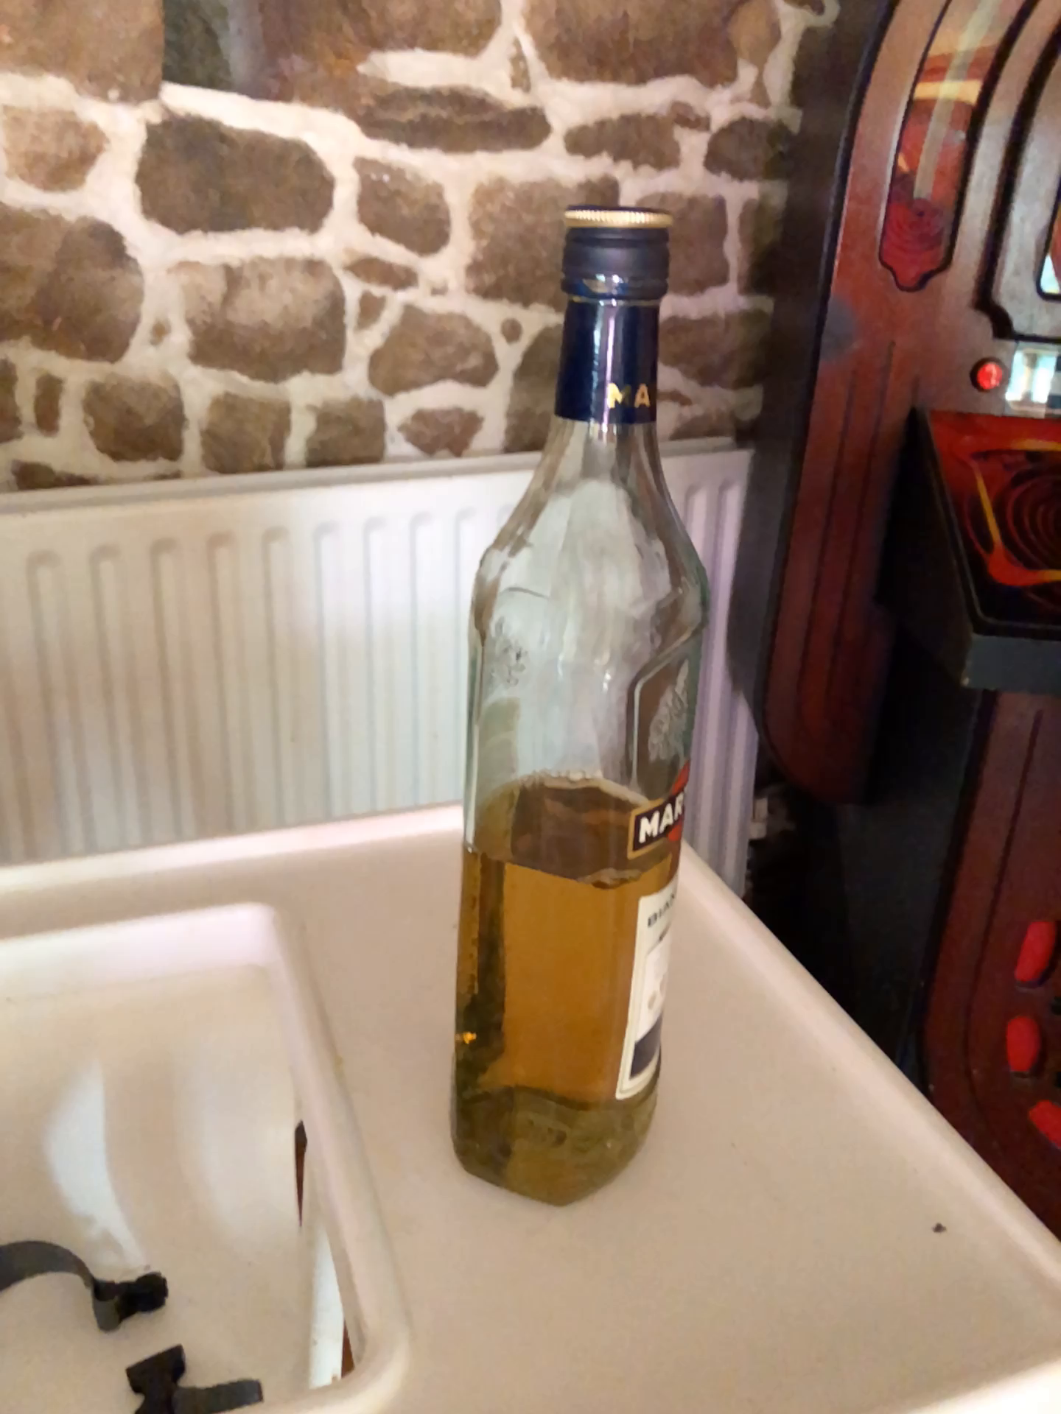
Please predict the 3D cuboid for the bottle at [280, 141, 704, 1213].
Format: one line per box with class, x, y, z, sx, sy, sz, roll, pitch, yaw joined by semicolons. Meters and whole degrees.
bottle;-0.010;-0.006;0.384;0.080;0.318;0.111;11;25;18
